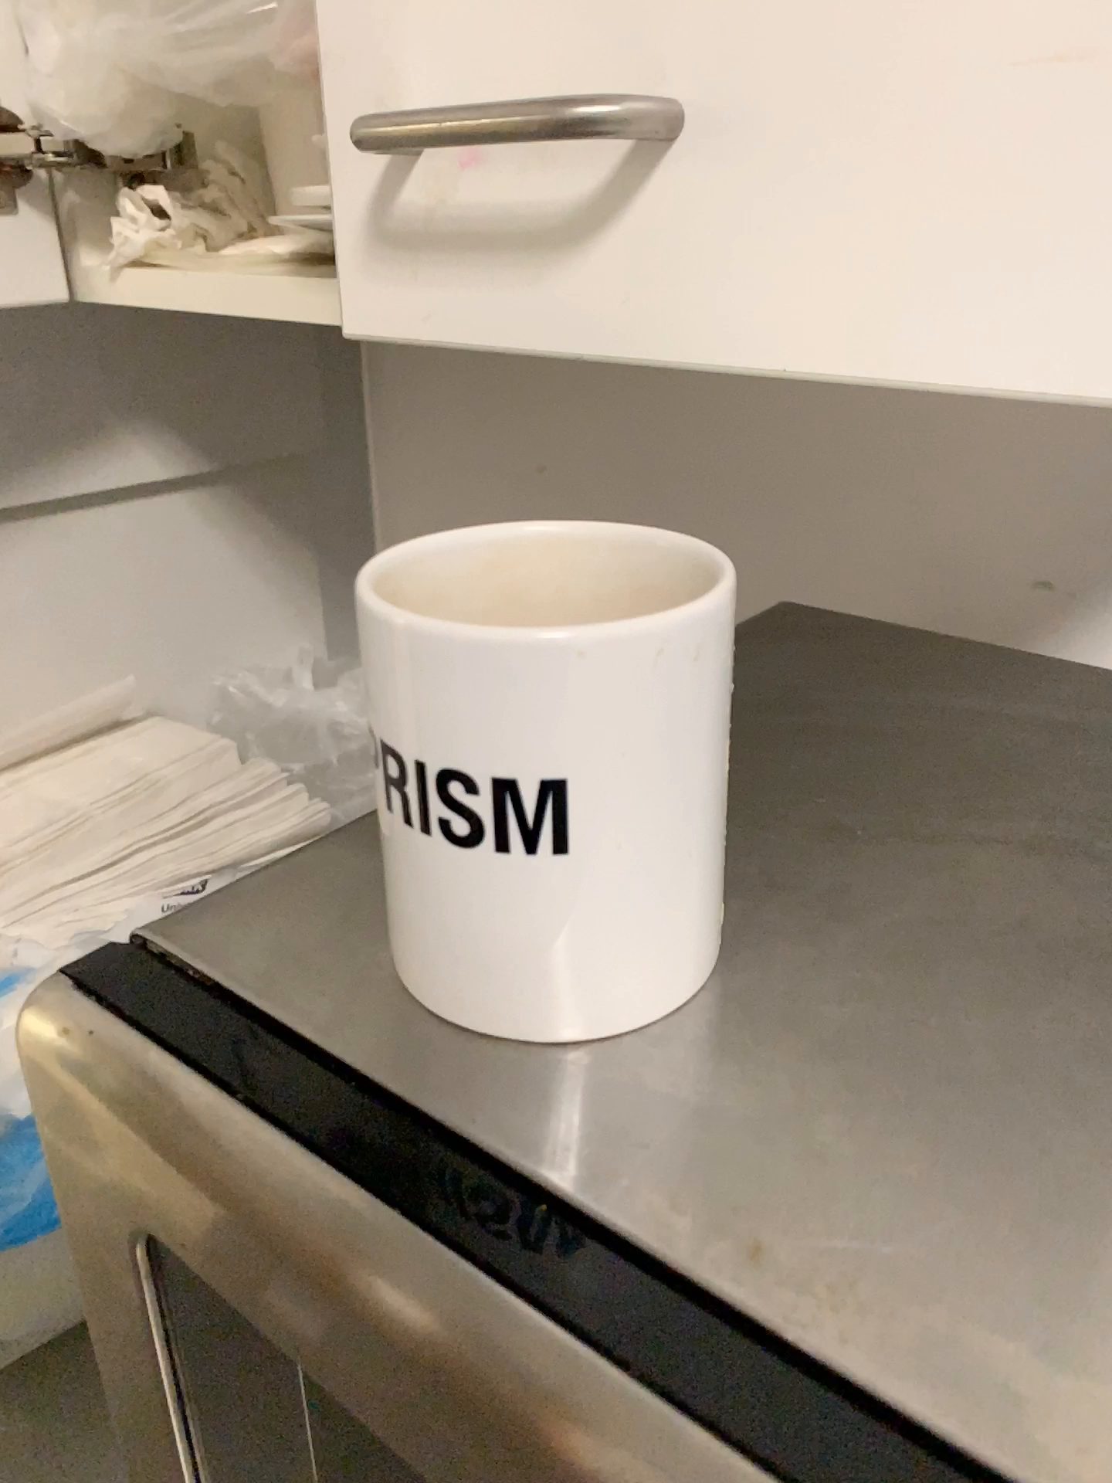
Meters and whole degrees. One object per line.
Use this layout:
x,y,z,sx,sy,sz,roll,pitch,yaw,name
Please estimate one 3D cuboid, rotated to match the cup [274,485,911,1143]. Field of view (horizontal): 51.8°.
0.003,0.004,0.275,0.094,0.099,0.114,-15,28,-30,cup
